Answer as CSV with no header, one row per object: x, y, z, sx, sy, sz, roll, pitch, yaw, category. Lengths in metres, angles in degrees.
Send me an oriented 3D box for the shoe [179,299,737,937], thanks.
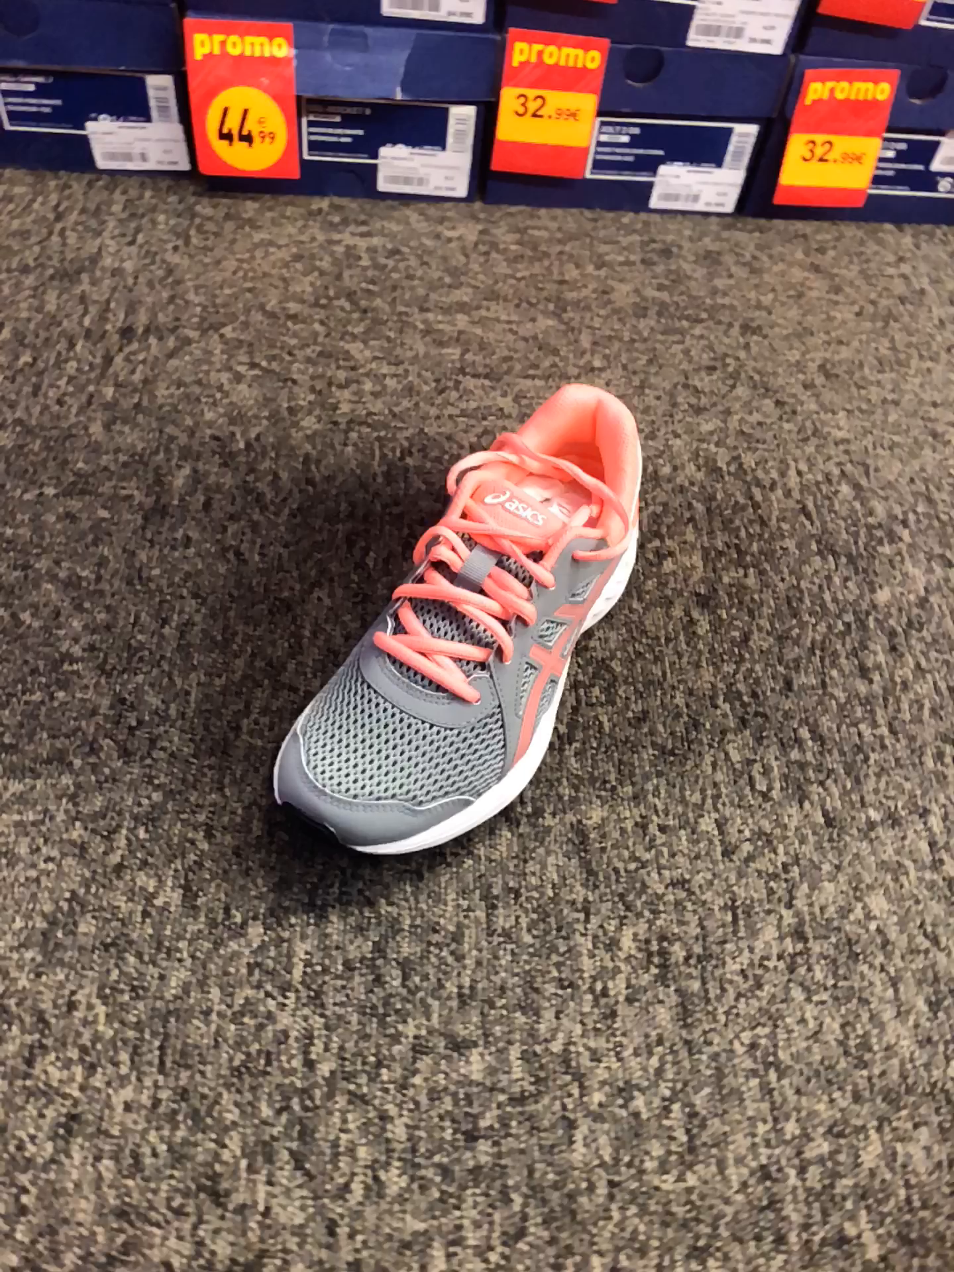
0.002,-0.019,0.464,0.110,0.109,0.251,28,56,13,shoe
